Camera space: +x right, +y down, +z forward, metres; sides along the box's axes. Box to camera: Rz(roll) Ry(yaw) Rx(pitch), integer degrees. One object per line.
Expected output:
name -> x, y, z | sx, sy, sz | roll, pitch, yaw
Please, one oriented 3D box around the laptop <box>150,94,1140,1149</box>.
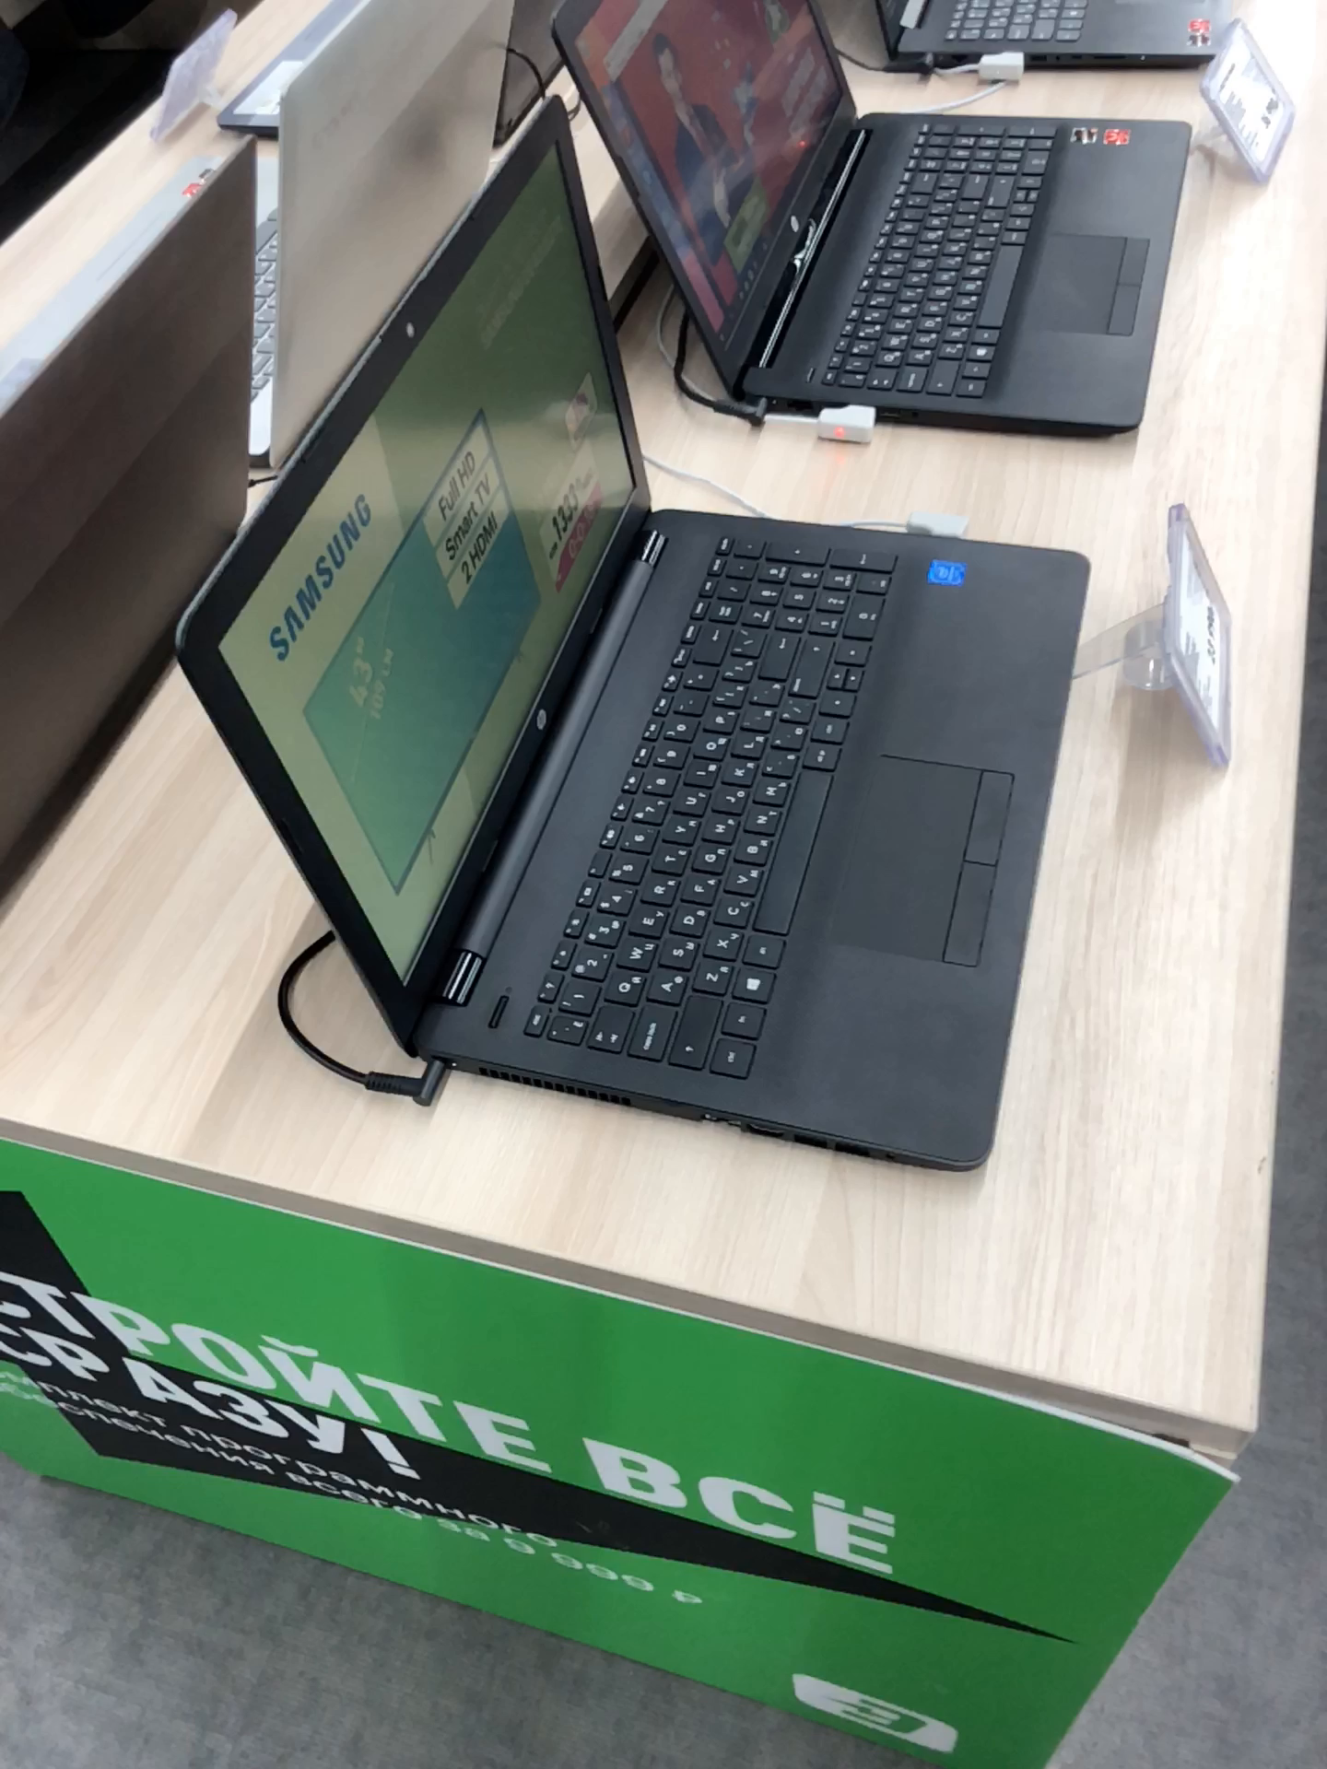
laptop -> 0.030, -0.129, 0.622 | 0.273, 0.222, 0.363 | 10, 53, 13
